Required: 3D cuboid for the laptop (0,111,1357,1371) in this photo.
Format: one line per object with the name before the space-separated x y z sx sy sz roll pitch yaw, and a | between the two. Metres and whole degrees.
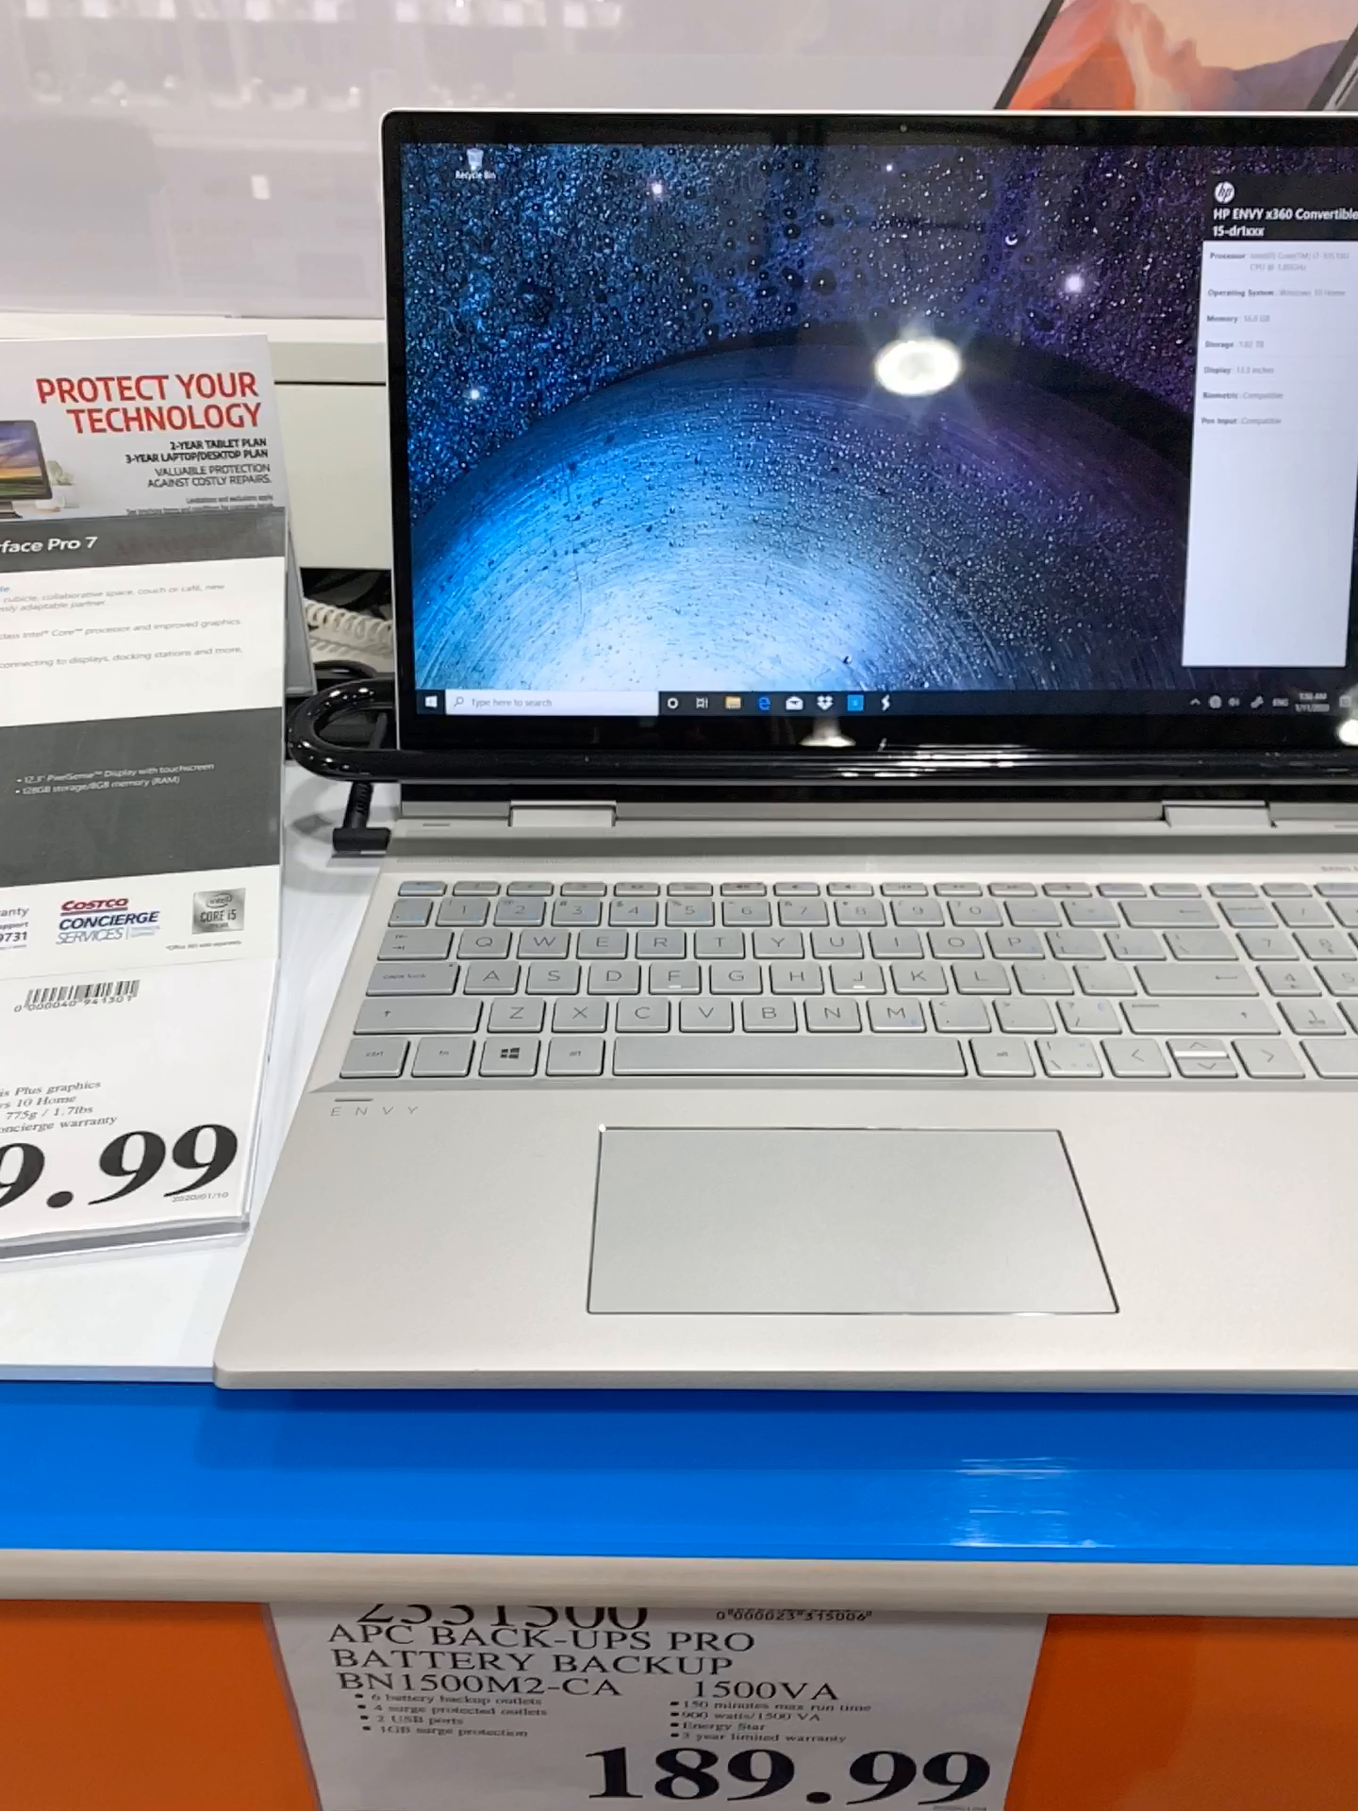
laptop | 0.070 -0.083 0.380 0.346 0.210 0.341 0 33 -1
